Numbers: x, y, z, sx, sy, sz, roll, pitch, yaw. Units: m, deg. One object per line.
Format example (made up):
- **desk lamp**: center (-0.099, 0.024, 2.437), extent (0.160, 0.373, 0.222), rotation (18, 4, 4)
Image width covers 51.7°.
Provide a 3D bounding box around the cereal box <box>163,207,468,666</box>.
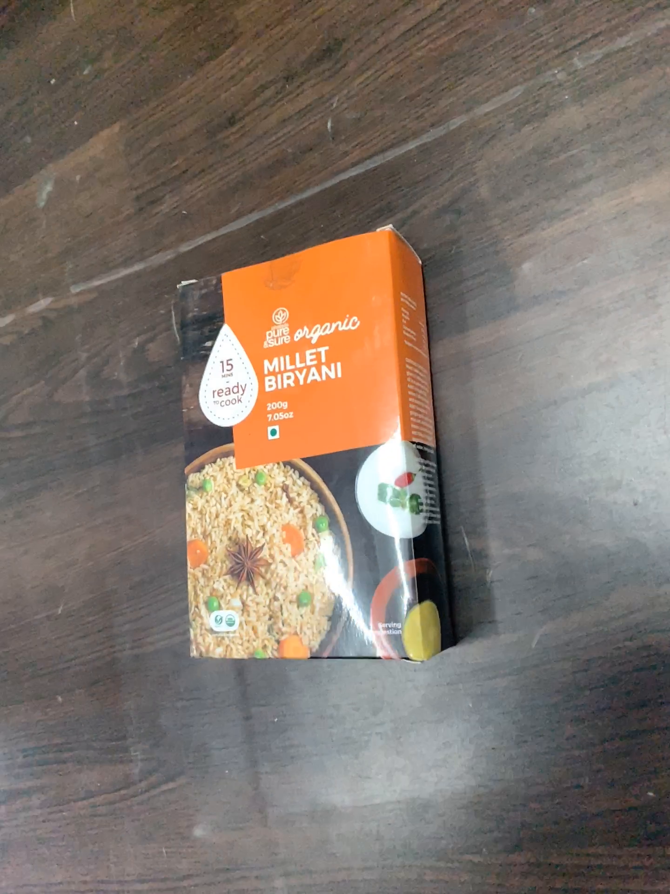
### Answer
- **cereal box**: center (-0.011, 0.001, 0.297), extent (0.110, 0.050, 0.170), rotation (-7, 81, 23)
